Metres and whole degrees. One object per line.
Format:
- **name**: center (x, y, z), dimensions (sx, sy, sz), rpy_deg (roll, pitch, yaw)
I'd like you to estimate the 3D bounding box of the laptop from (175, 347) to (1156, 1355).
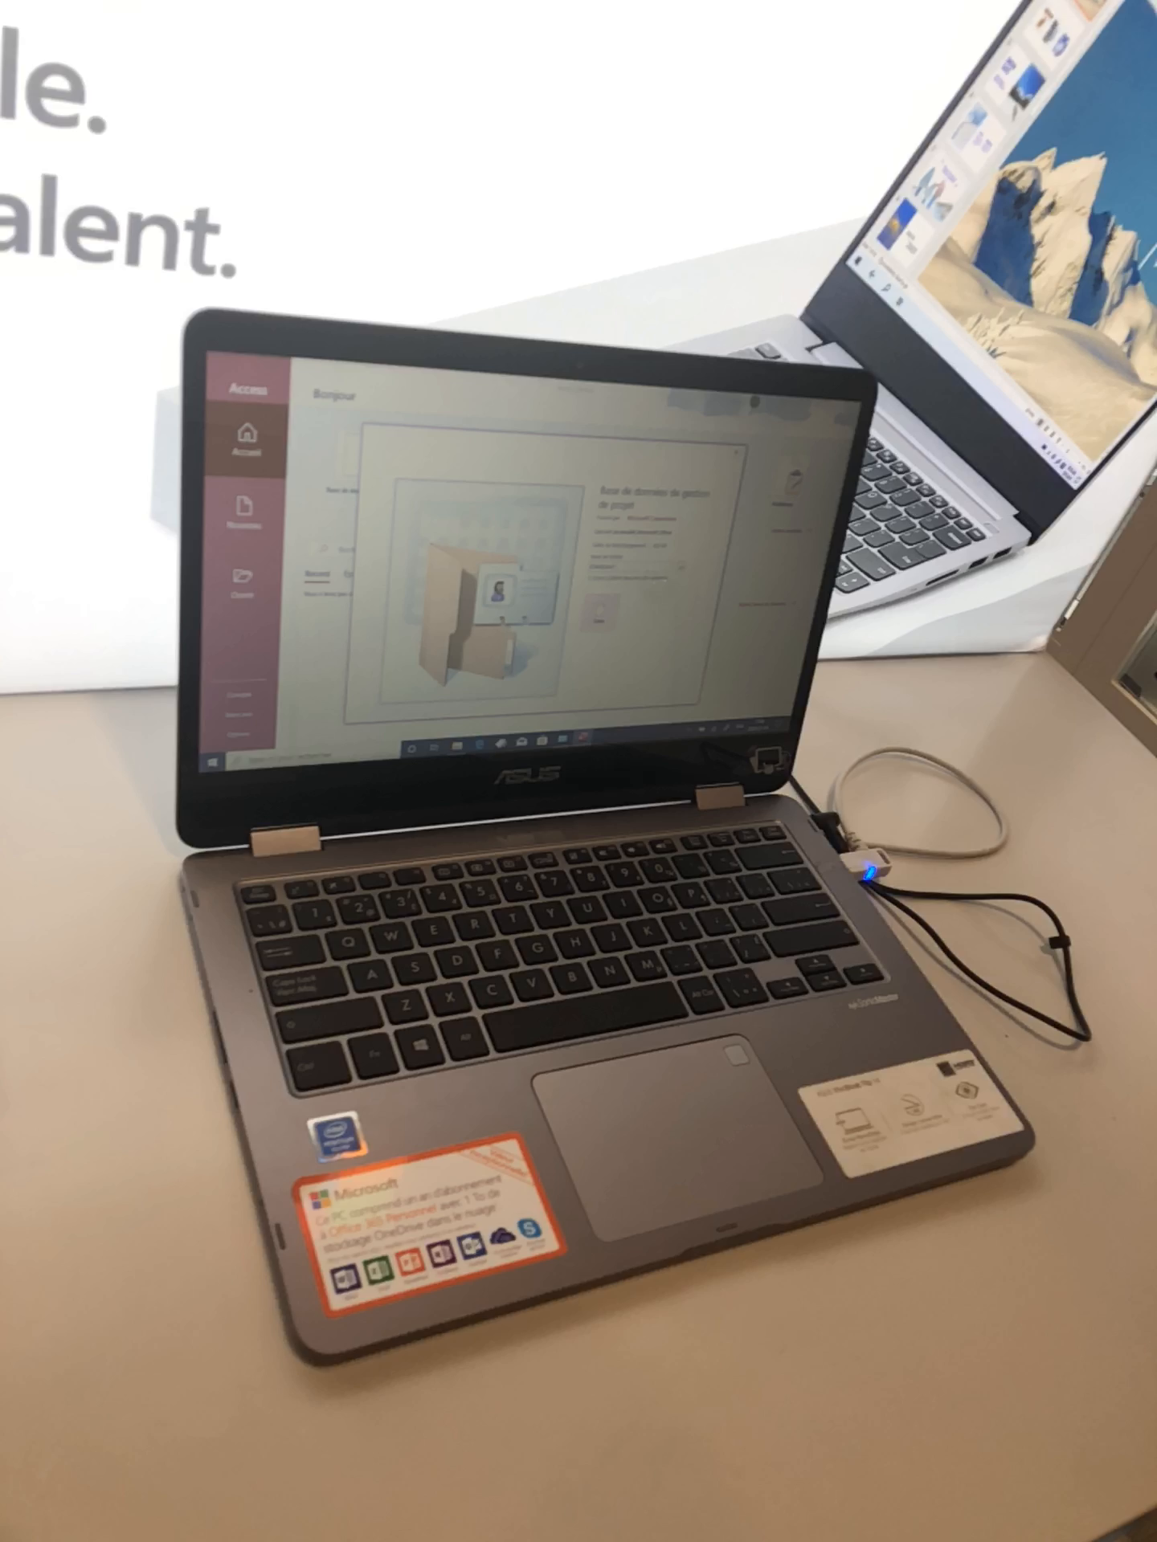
- **laptop**: center (0.033, 0.004, 0.498), dimensions (0.312, 0.214, 0.273), rpy_deg (-4, 42, -28)
